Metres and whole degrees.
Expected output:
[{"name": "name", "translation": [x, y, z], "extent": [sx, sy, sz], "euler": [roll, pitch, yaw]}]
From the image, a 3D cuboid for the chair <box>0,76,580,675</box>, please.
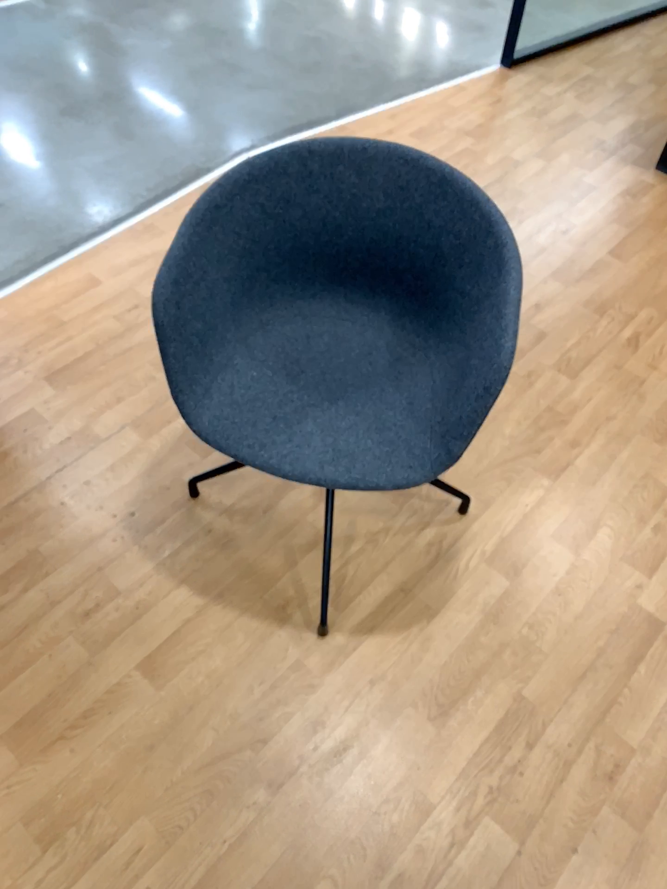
[{"name": "chair", "translation": [-0.020, -0.138, 1.306], "extent": [0.710, 0.685, 0.735], "euler": [14, 52, 9]}]
